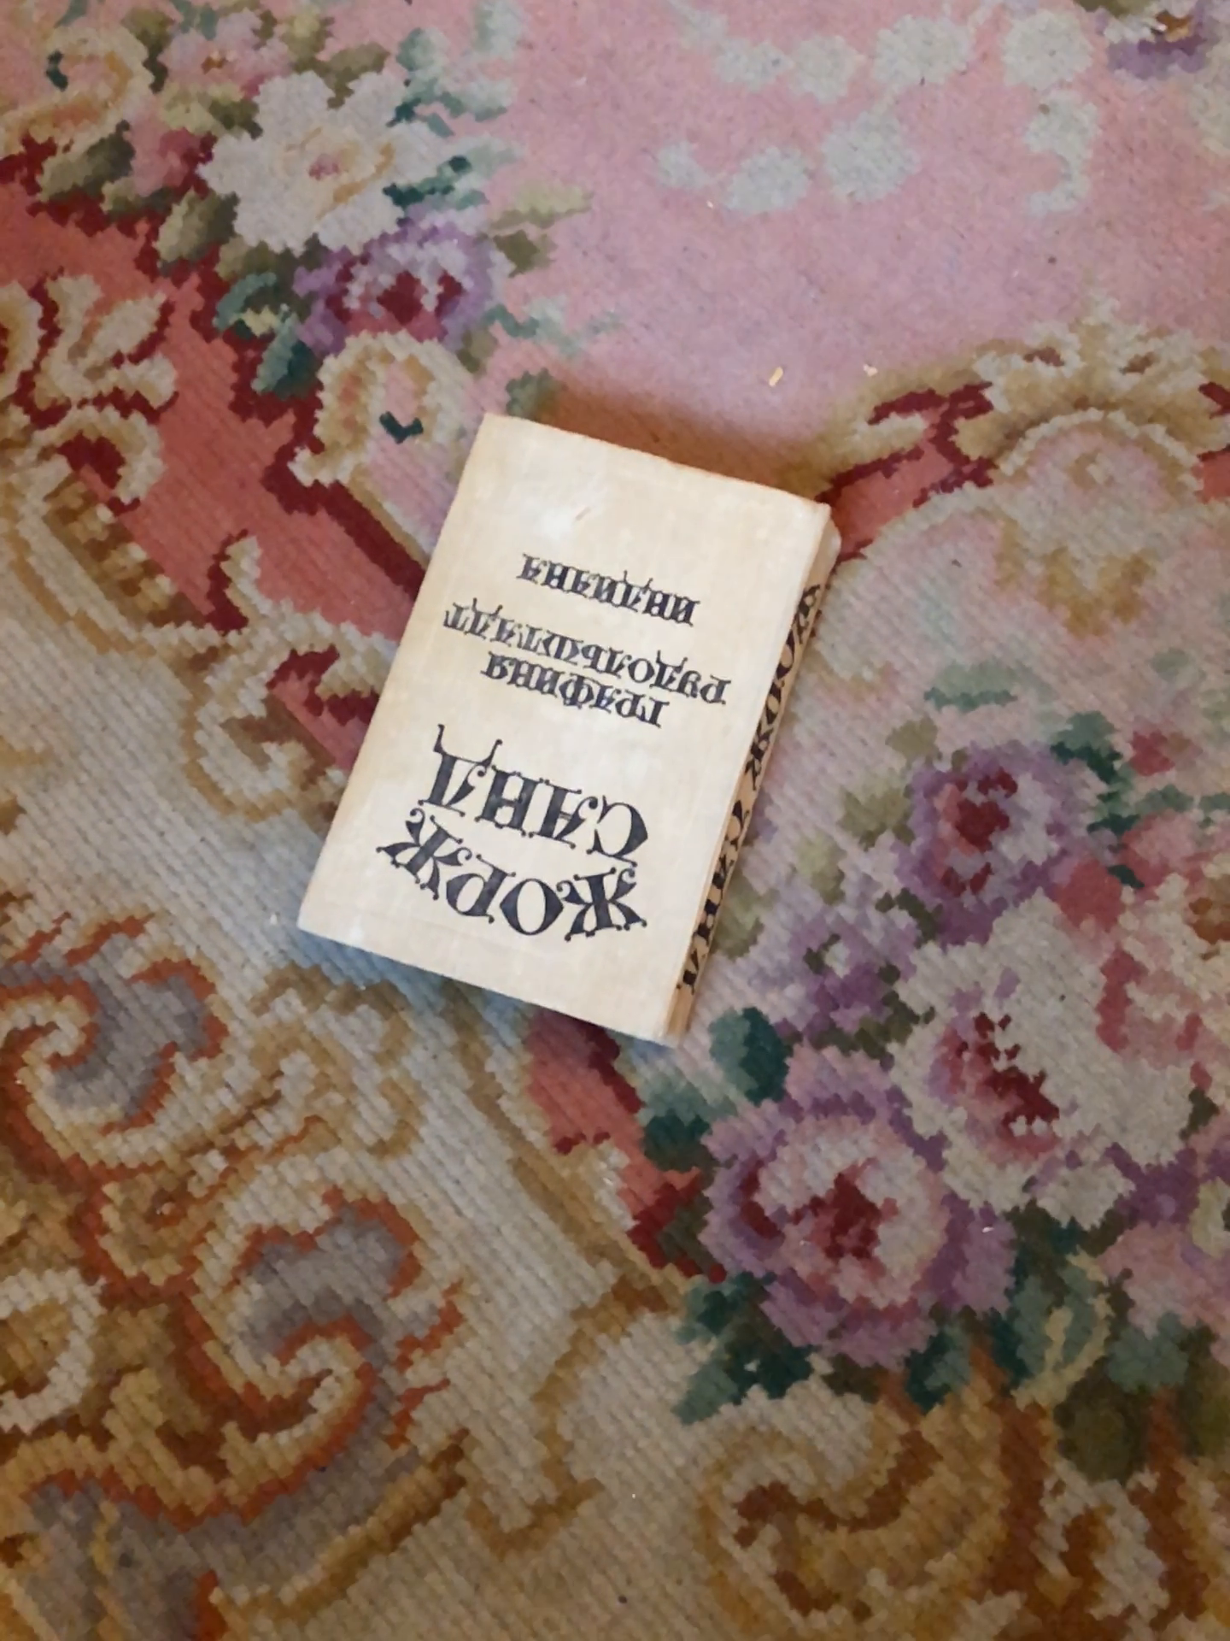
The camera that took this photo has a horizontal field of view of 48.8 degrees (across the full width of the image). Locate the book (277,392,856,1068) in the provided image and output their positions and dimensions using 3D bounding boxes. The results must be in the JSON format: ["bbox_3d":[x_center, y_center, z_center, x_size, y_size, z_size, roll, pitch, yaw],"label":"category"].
[{"bbox_3d":[-0.014,-0.035,0.524,0.150,0.057,0.220,17,79,7],"label":"book"}]
